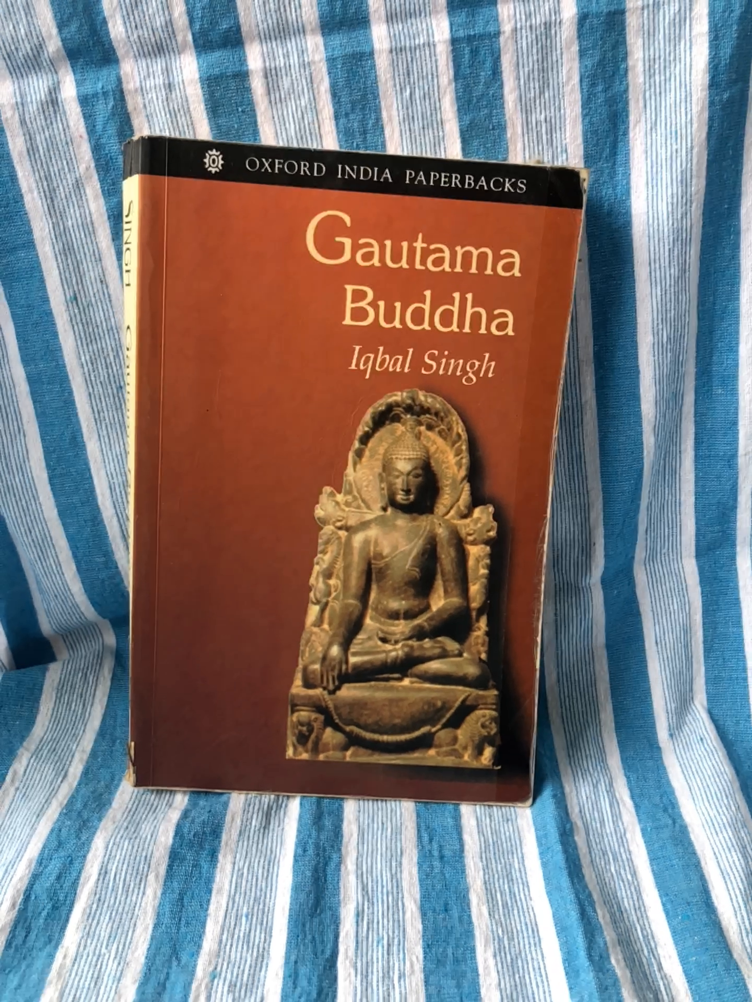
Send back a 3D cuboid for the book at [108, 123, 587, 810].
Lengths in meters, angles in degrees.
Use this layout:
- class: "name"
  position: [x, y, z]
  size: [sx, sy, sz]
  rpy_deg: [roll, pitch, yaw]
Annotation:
- class: "book"
  position: [-0.012, -0.008, 0.280]
  size: [0.140, 0.210, 0.040]
  rpy_deg: [2, 8, 0]
